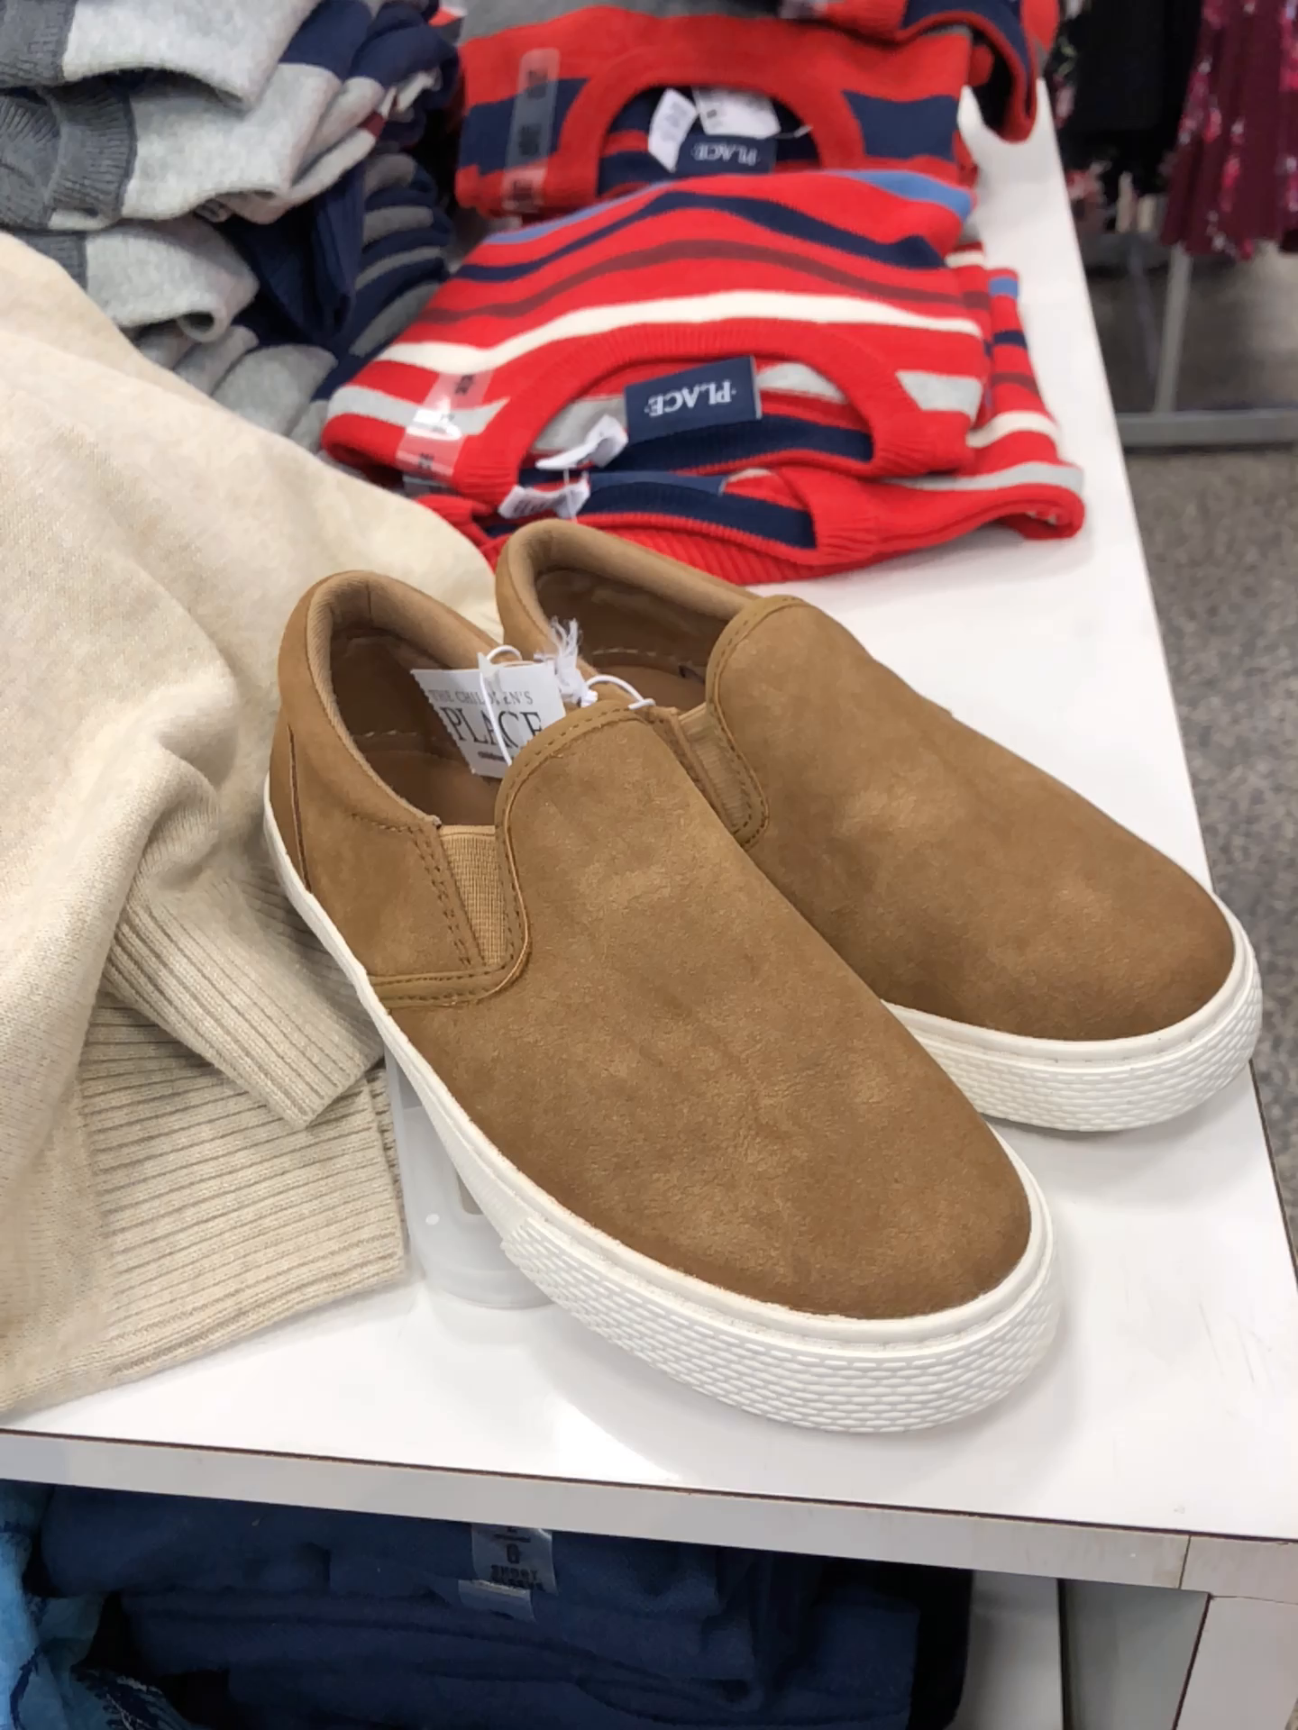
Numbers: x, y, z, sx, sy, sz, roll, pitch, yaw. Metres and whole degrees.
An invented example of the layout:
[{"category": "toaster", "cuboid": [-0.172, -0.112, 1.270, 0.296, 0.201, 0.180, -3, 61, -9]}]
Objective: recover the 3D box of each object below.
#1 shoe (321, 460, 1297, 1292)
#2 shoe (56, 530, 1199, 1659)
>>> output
[{"category": "shoe", "cuboid": [0.032, -0.017, 0.348, 0.092, 0.080, 0.231, -35, 45, -28]}, {"category": "shoe", "cuboid": [-0.021, 0.019, 0.292, 0.092, 0.080, 0.231, -31, 43, -25]}]
